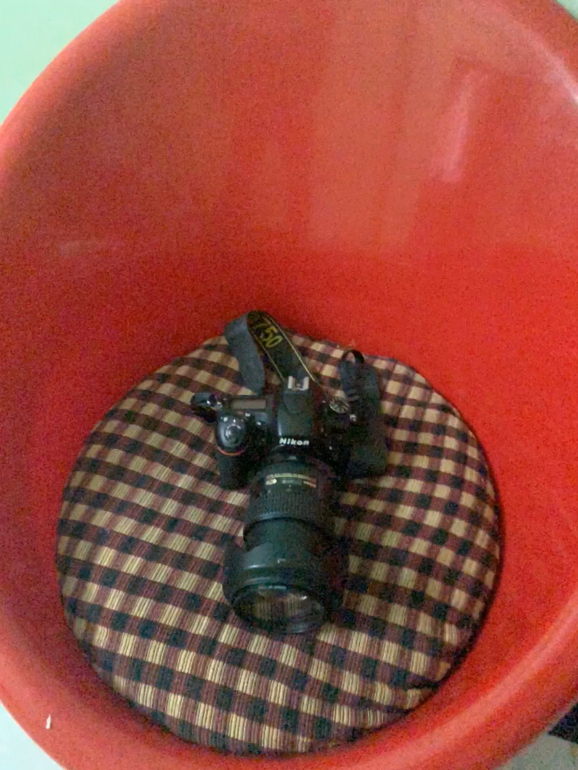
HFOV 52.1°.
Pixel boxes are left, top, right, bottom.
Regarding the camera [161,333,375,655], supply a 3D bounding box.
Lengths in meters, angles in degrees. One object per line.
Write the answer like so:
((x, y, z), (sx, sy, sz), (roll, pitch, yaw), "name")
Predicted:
((-0.006, 0.106, 0.589), (0.160, 0.179, 0.253), (3, 52, 3), "camera")
